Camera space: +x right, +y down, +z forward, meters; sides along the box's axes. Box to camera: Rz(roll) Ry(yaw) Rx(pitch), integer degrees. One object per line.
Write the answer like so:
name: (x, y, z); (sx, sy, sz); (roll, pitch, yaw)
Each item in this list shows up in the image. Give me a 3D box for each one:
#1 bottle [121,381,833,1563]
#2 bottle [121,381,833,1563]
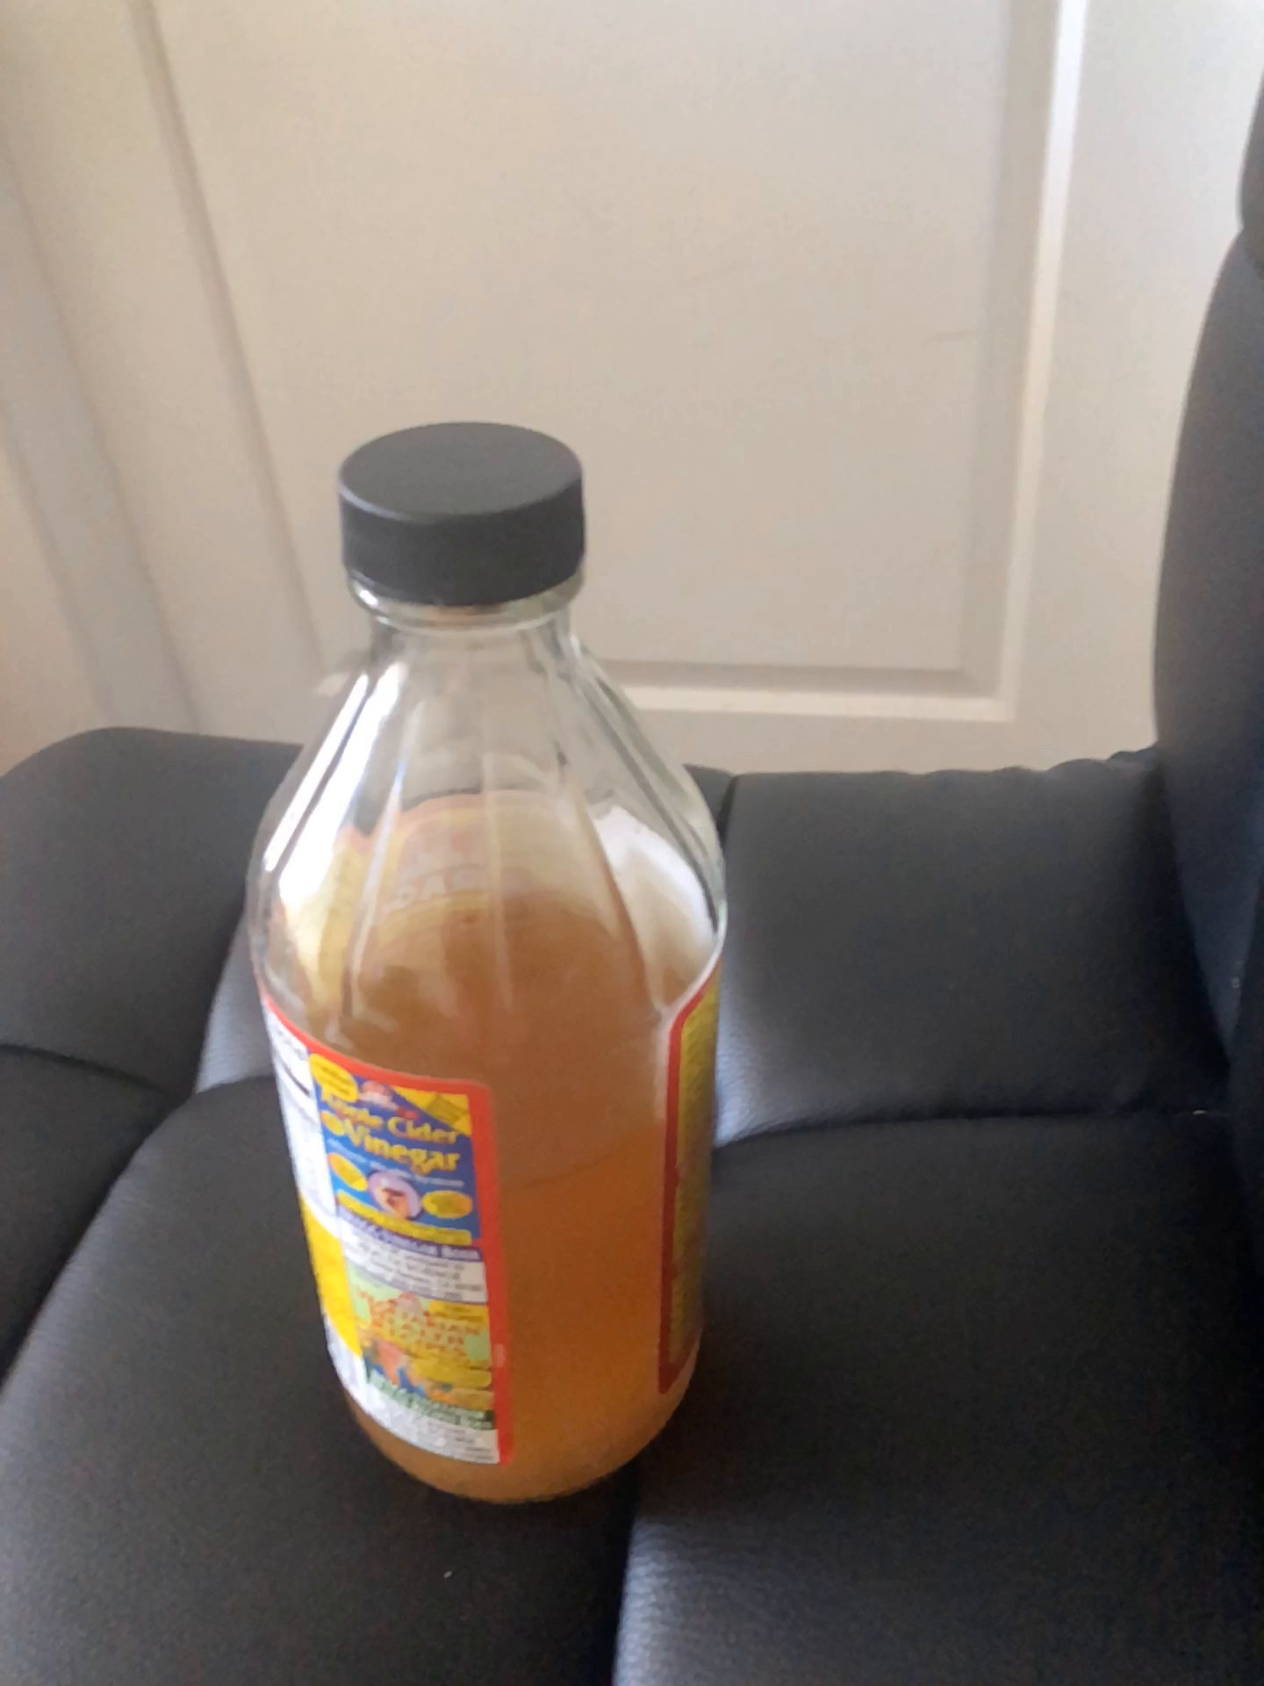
bottle: (-0.025, 0.030, 0.227); (0.070, 0.179, 0.070); (1, 39, -1)
bottle: (-0.025, 0.030, 0.227); (0.070, 0.179, 0.070); (1, 39, -1)
